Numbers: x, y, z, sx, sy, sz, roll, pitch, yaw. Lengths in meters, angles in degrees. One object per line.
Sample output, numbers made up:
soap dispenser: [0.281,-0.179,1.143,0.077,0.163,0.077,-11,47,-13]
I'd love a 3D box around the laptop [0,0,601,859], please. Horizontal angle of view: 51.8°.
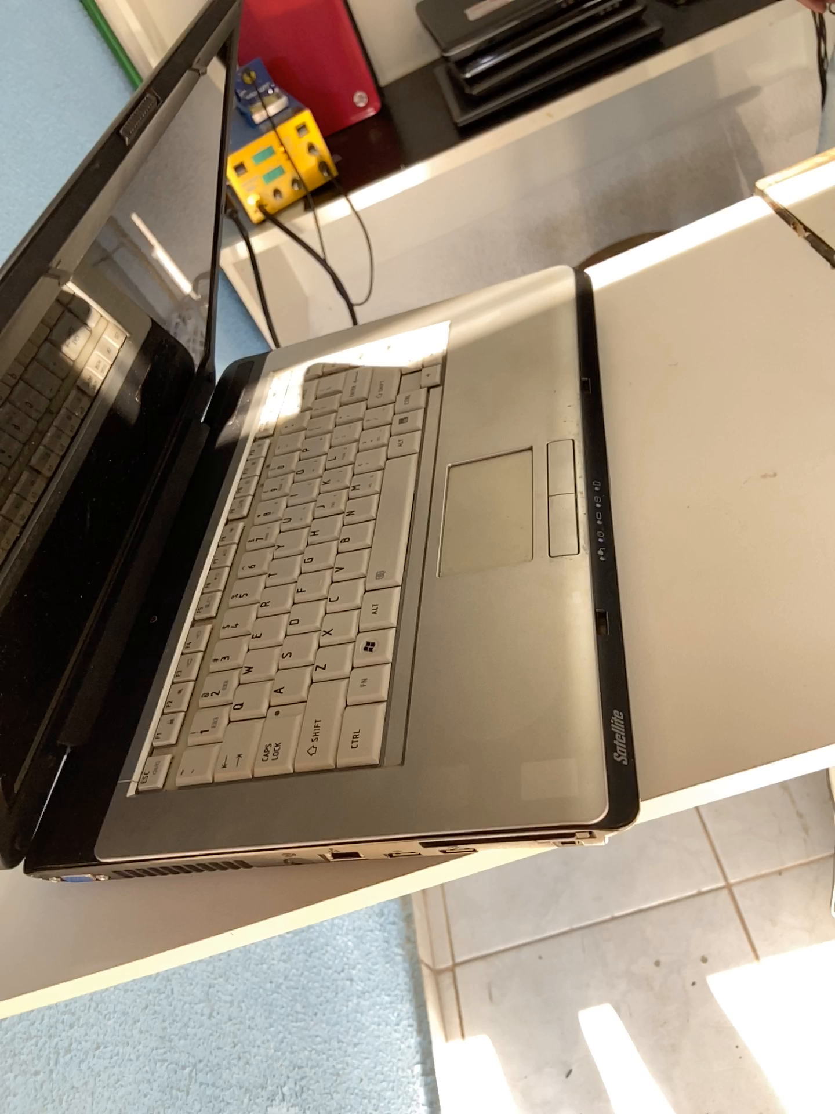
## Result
laptop: [-0.073,-0.089,0.379,0.246,0.202,0.353,-11,45,20]
